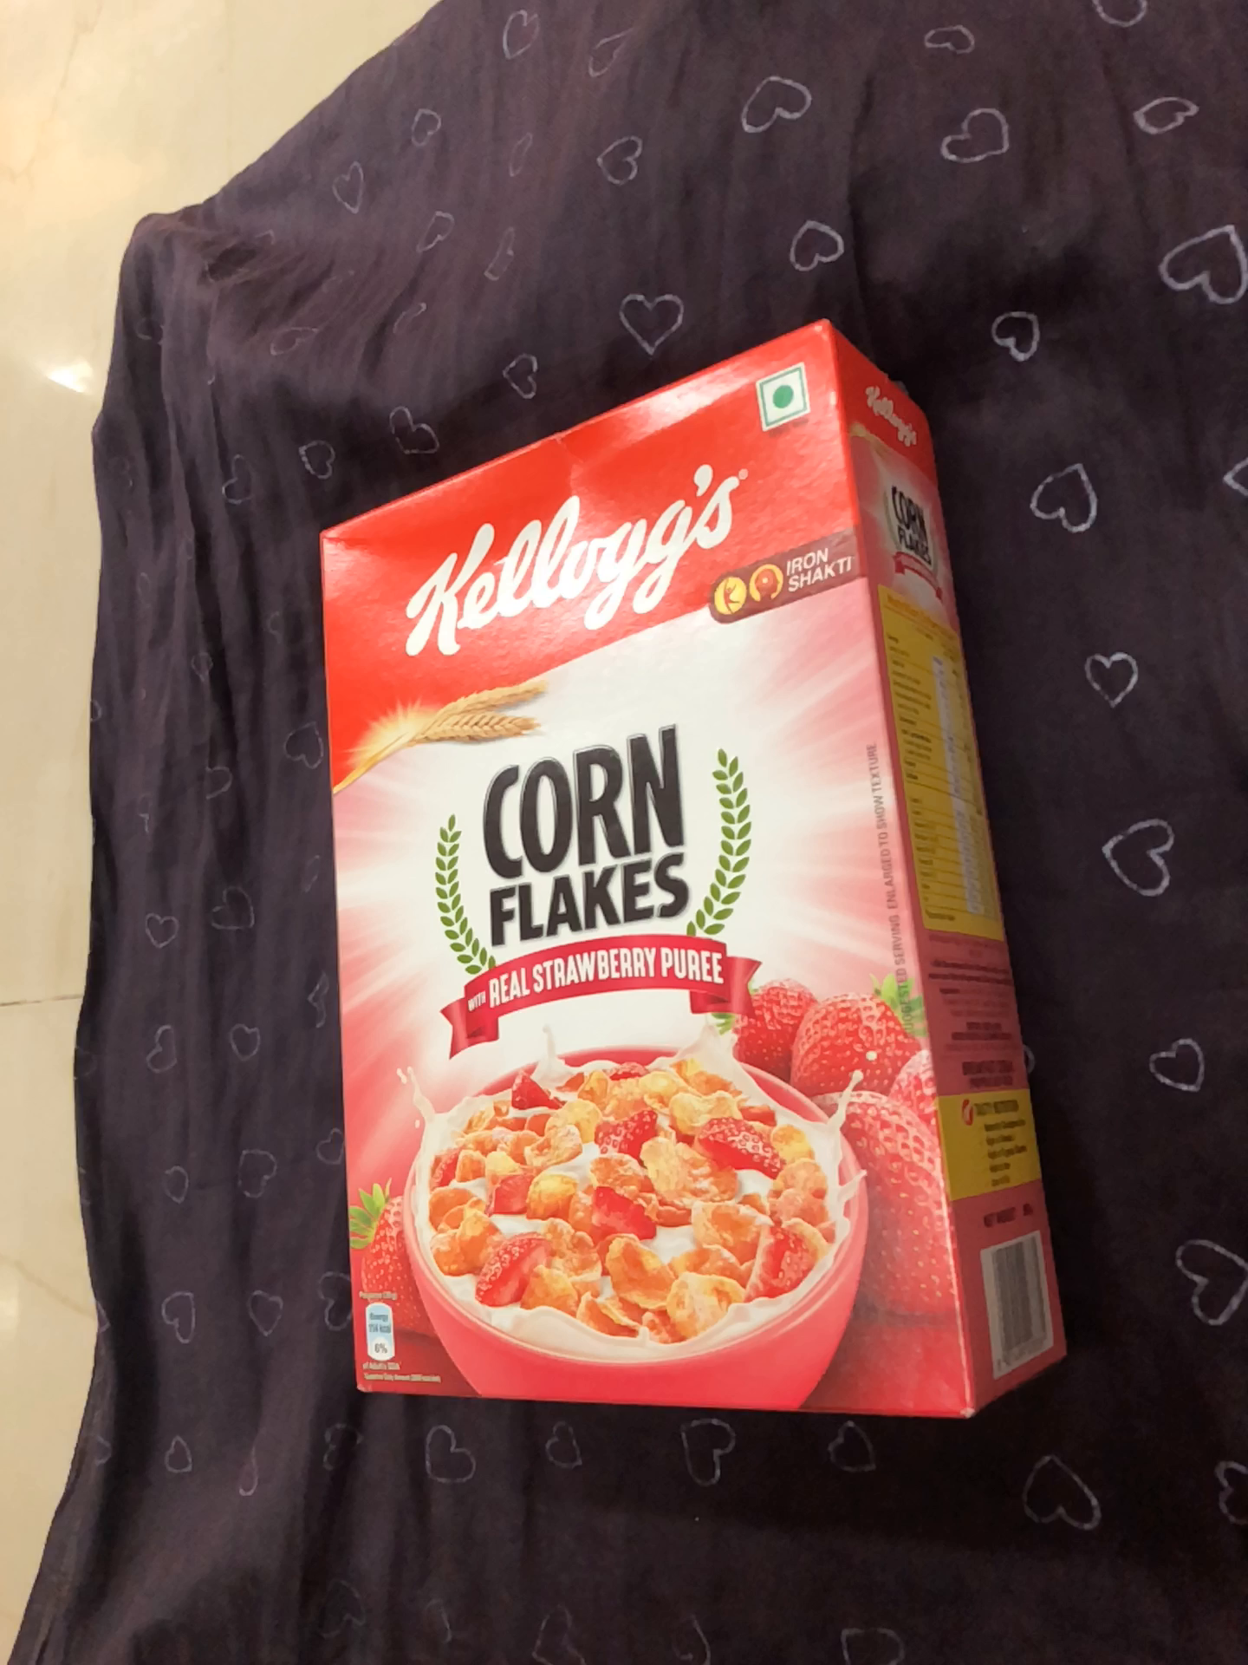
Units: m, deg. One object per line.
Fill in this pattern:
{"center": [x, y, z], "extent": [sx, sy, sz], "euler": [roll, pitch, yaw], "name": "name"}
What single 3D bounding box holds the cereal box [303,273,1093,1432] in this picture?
{"center": [0.007, 0.014, 0.393], "extent": [0.190, 0.070, 0.270], "euler": [-12, 76, 32], "name": "cereal box"}
